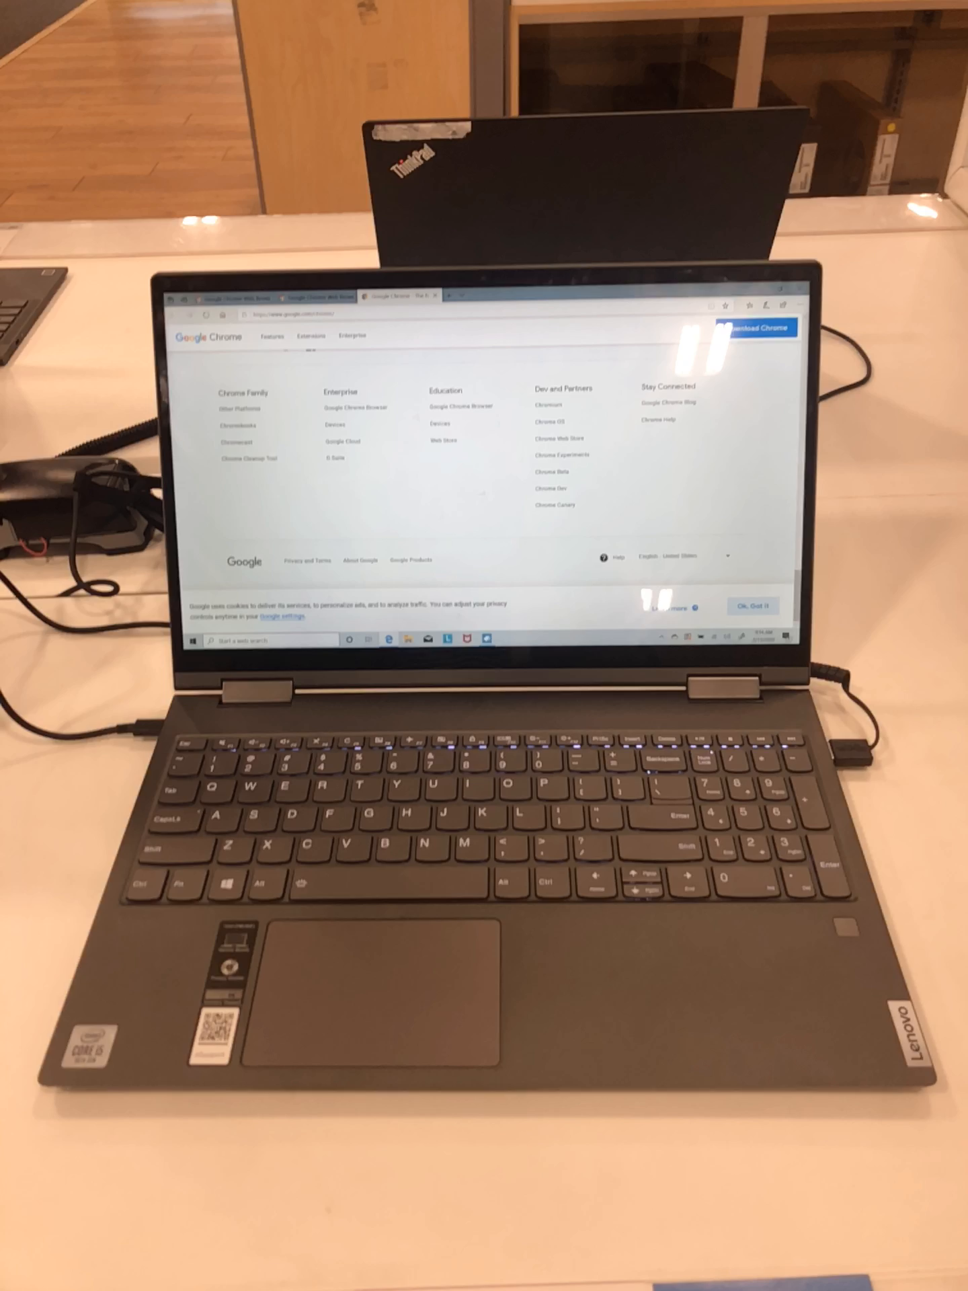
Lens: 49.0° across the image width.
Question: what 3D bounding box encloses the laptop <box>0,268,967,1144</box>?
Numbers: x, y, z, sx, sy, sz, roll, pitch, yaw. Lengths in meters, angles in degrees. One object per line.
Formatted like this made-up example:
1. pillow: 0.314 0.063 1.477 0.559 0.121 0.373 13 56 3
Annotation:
1. laptop: -0.006 -0.001 0.501 0.352 0.178 0.366 0 45 1
